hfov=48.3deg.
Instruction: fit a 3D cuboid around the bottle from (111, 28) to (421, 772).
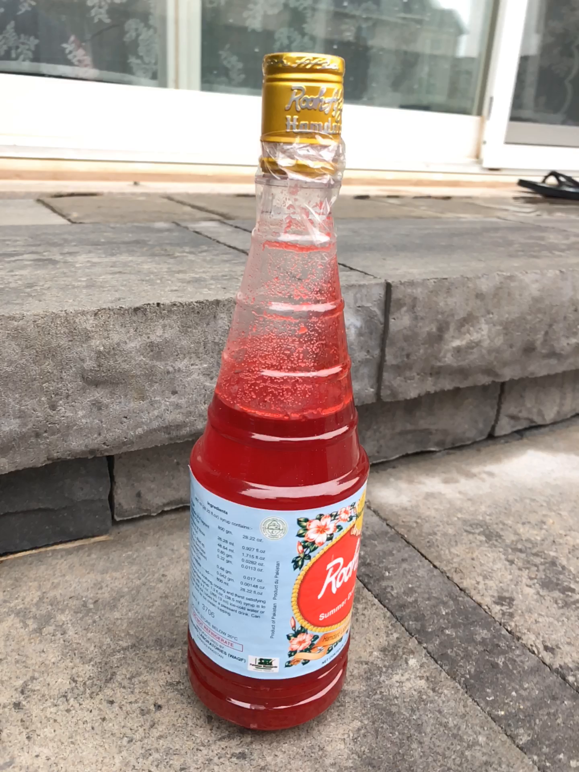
[{"bbox_3d":[-0.009,0.014,0.273,0.080,0.279,0.090,10,22,17],"label":"bottle"}]
